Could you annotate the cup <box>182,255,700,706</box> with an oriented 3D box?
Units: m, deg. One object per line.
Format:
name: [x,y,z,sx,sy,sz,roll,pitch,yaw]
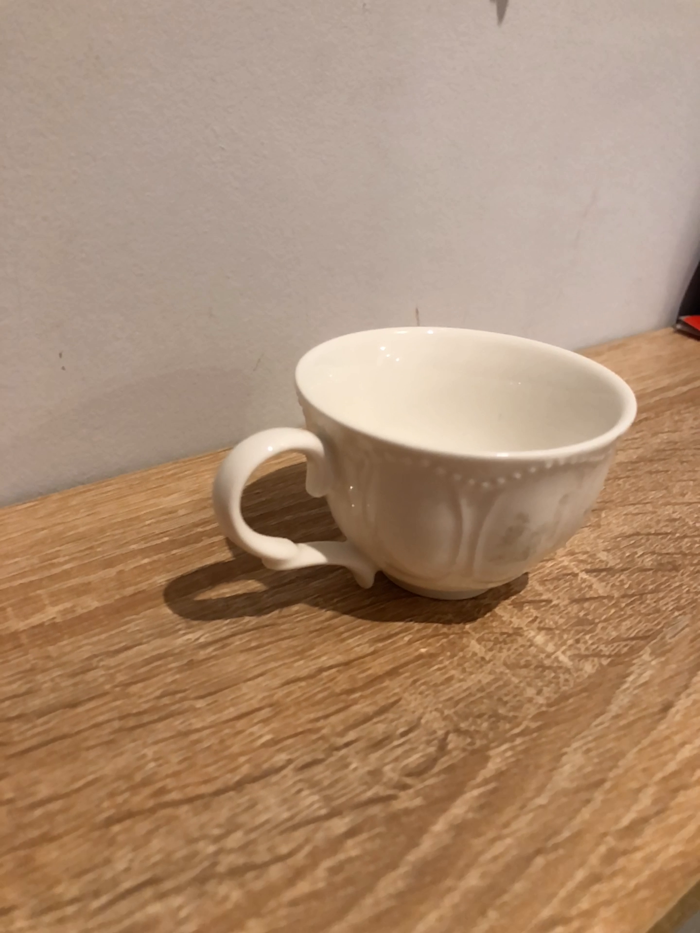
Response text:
cup: [0.025,-0.008,0.167,0.100,0.050,0.060,-21,36,-37]
